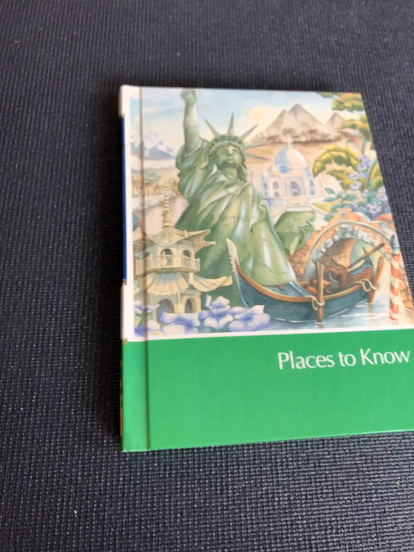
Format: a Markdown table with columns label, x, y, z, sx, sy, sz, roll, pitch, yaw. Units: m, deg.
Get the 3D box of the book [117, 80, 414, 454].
| label | x | y | z | sx | sy | sz | roll | pitch | yaw |
| --- | --- | --- | --- | --- | --- | --- | --- | --- | --- |
| book | 0.037 | -0.021 | 0.315 | 0.190 | 0.030 | 0.250 | -1 | 68 | -9 |
